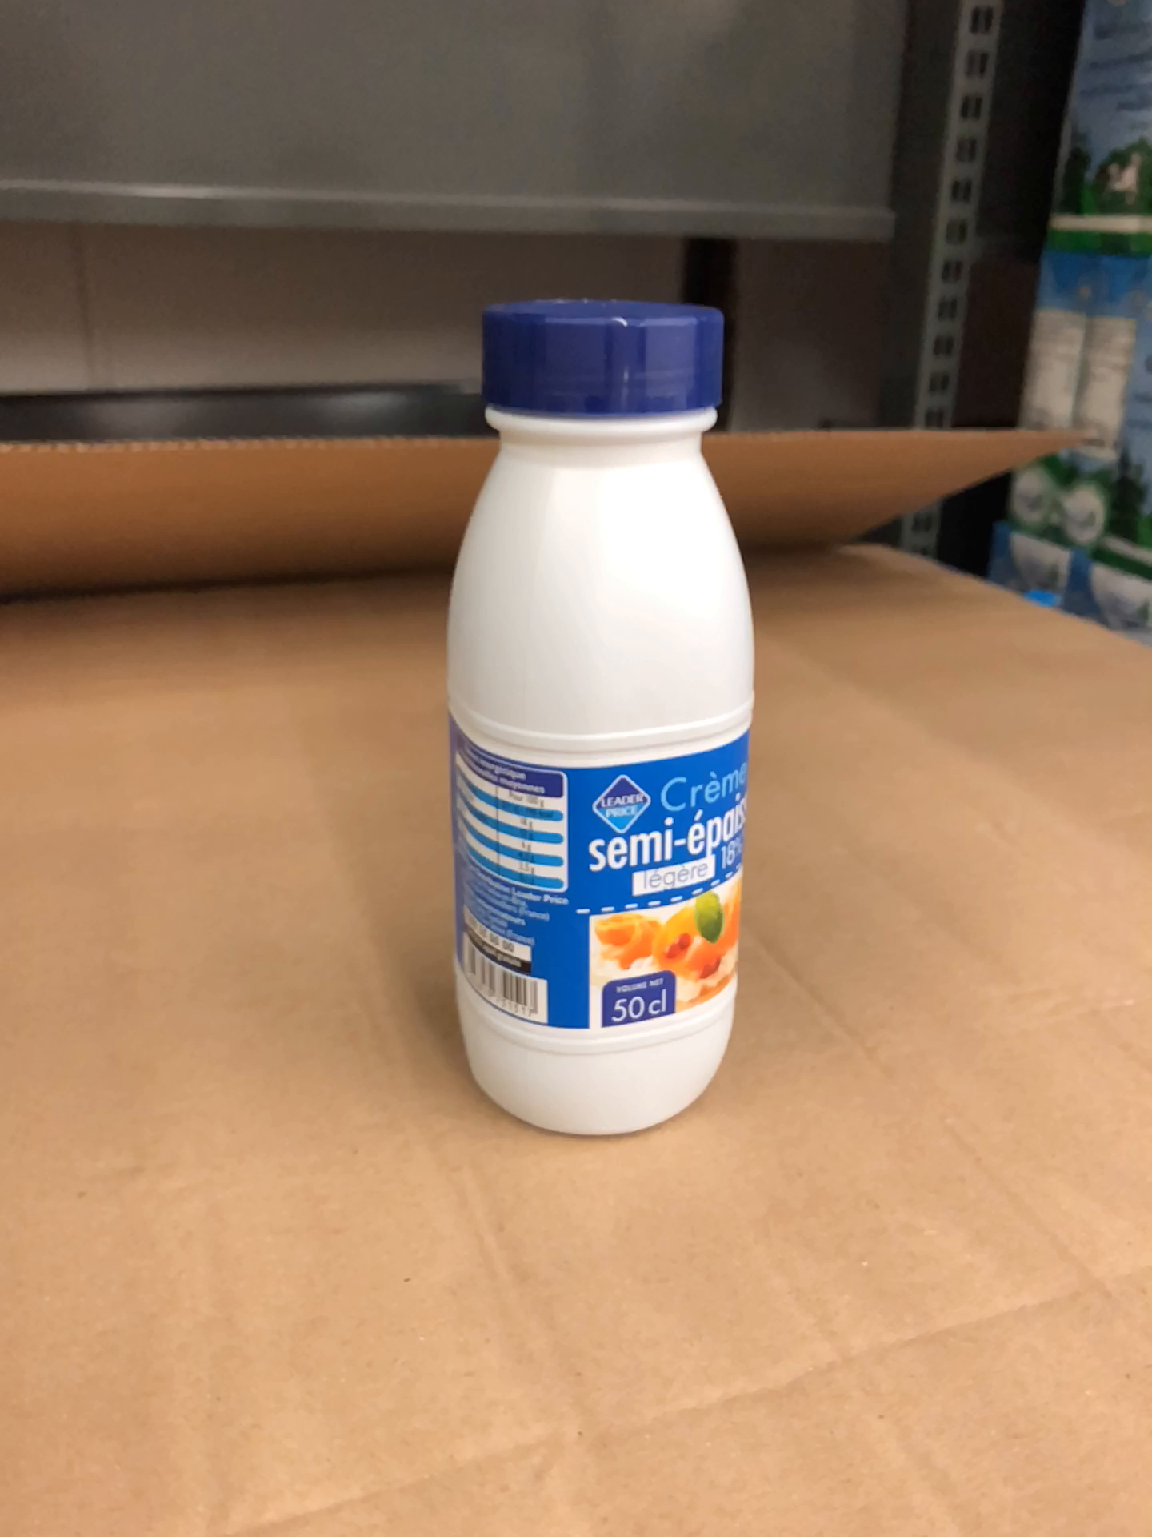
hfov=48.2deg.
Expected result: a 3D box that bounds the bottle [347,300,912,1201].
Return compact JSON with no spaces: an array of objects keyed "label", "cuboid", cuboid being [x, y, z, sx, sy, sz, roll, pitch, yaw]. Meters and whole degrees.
[{"label":"bottle","cuboid":[0.006,-0.011,0.283,0.080,0.169,0.080,1,22,0]}]
